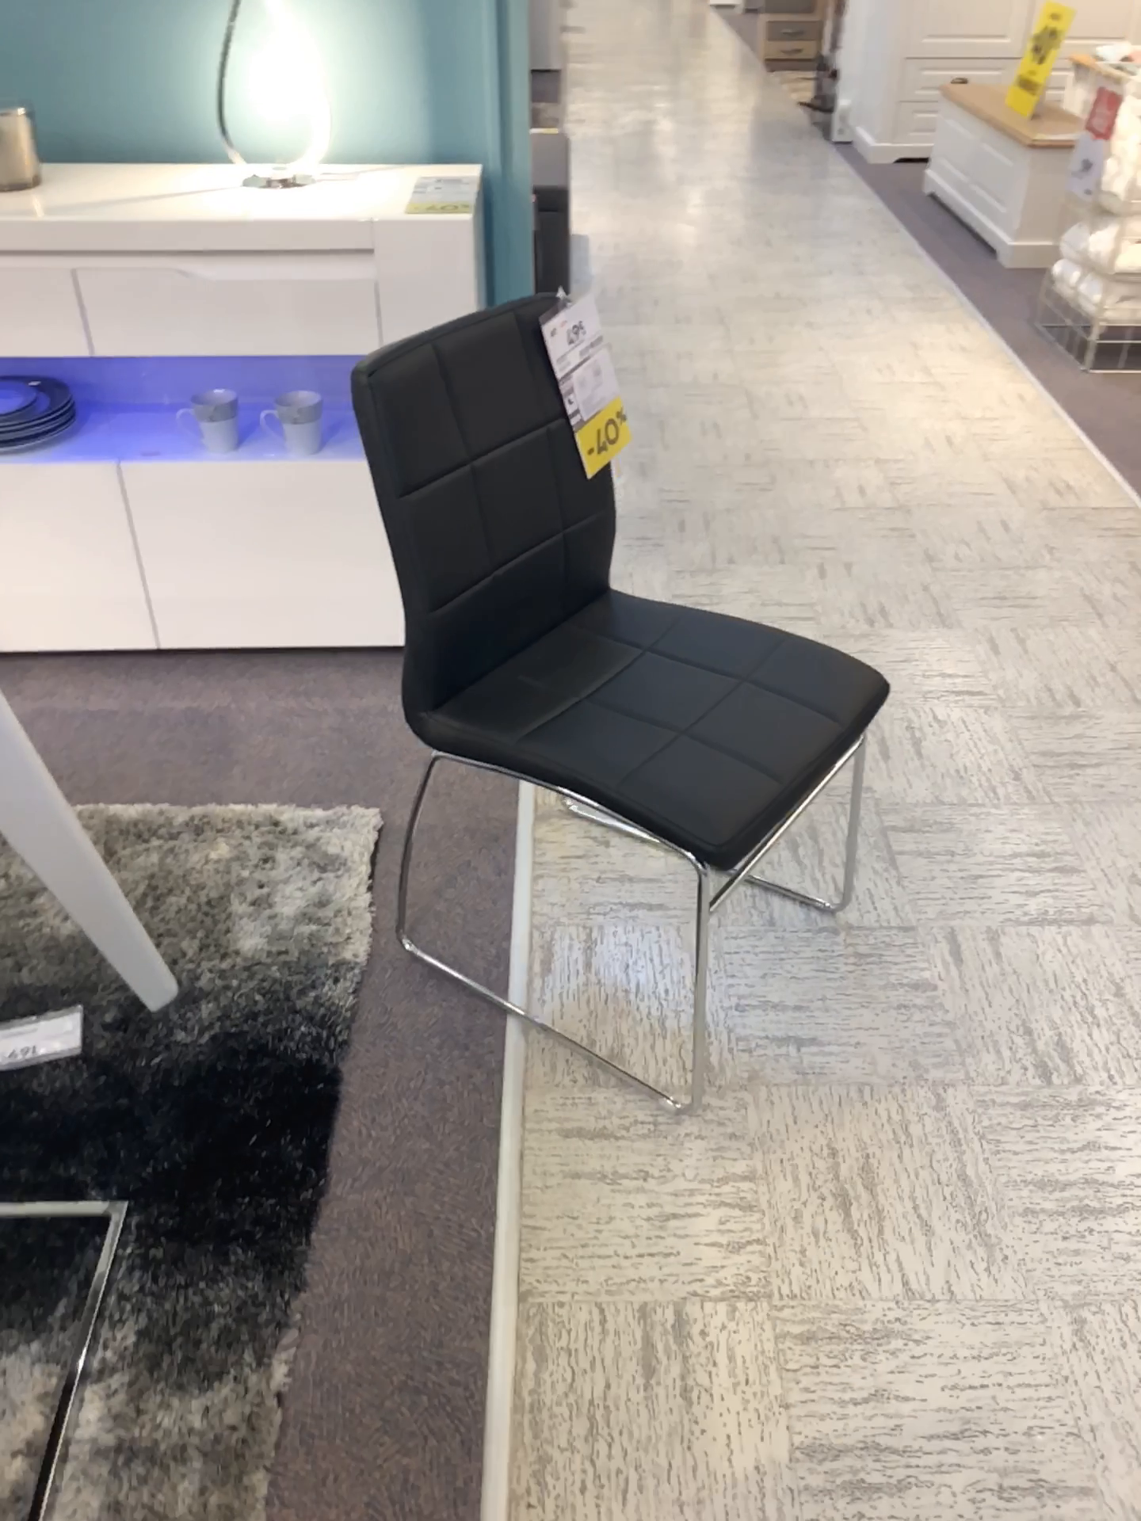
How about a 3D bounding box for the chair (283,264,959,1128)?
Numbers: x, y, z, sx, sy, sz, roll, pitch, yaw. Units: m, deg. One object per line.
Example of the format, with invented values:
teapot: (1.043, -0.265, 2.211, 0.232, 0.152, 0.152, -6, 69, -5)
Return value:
chair: (0.072, -0.103, 1.572, 0.536, 0.825, 0.523, 20, 40, 26)
